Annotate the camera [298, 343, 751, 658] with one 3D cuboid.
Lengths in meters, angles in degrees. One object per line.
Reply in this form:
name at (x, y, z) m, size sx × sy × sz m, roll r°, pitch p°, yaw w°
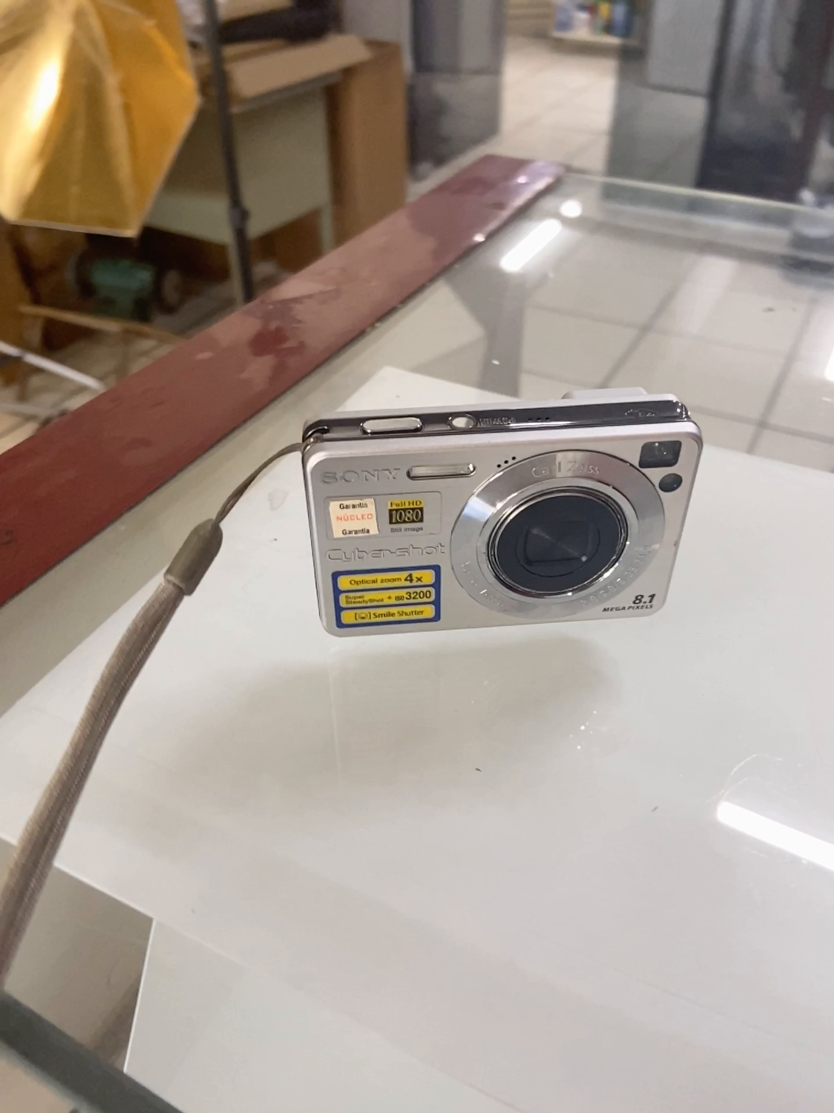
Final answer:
camera at (0.021, -0.012, 0.201) m, size 0.090 × 0.060 × 0.030 m, roll -5°, pitch 39°, yaw -5°
